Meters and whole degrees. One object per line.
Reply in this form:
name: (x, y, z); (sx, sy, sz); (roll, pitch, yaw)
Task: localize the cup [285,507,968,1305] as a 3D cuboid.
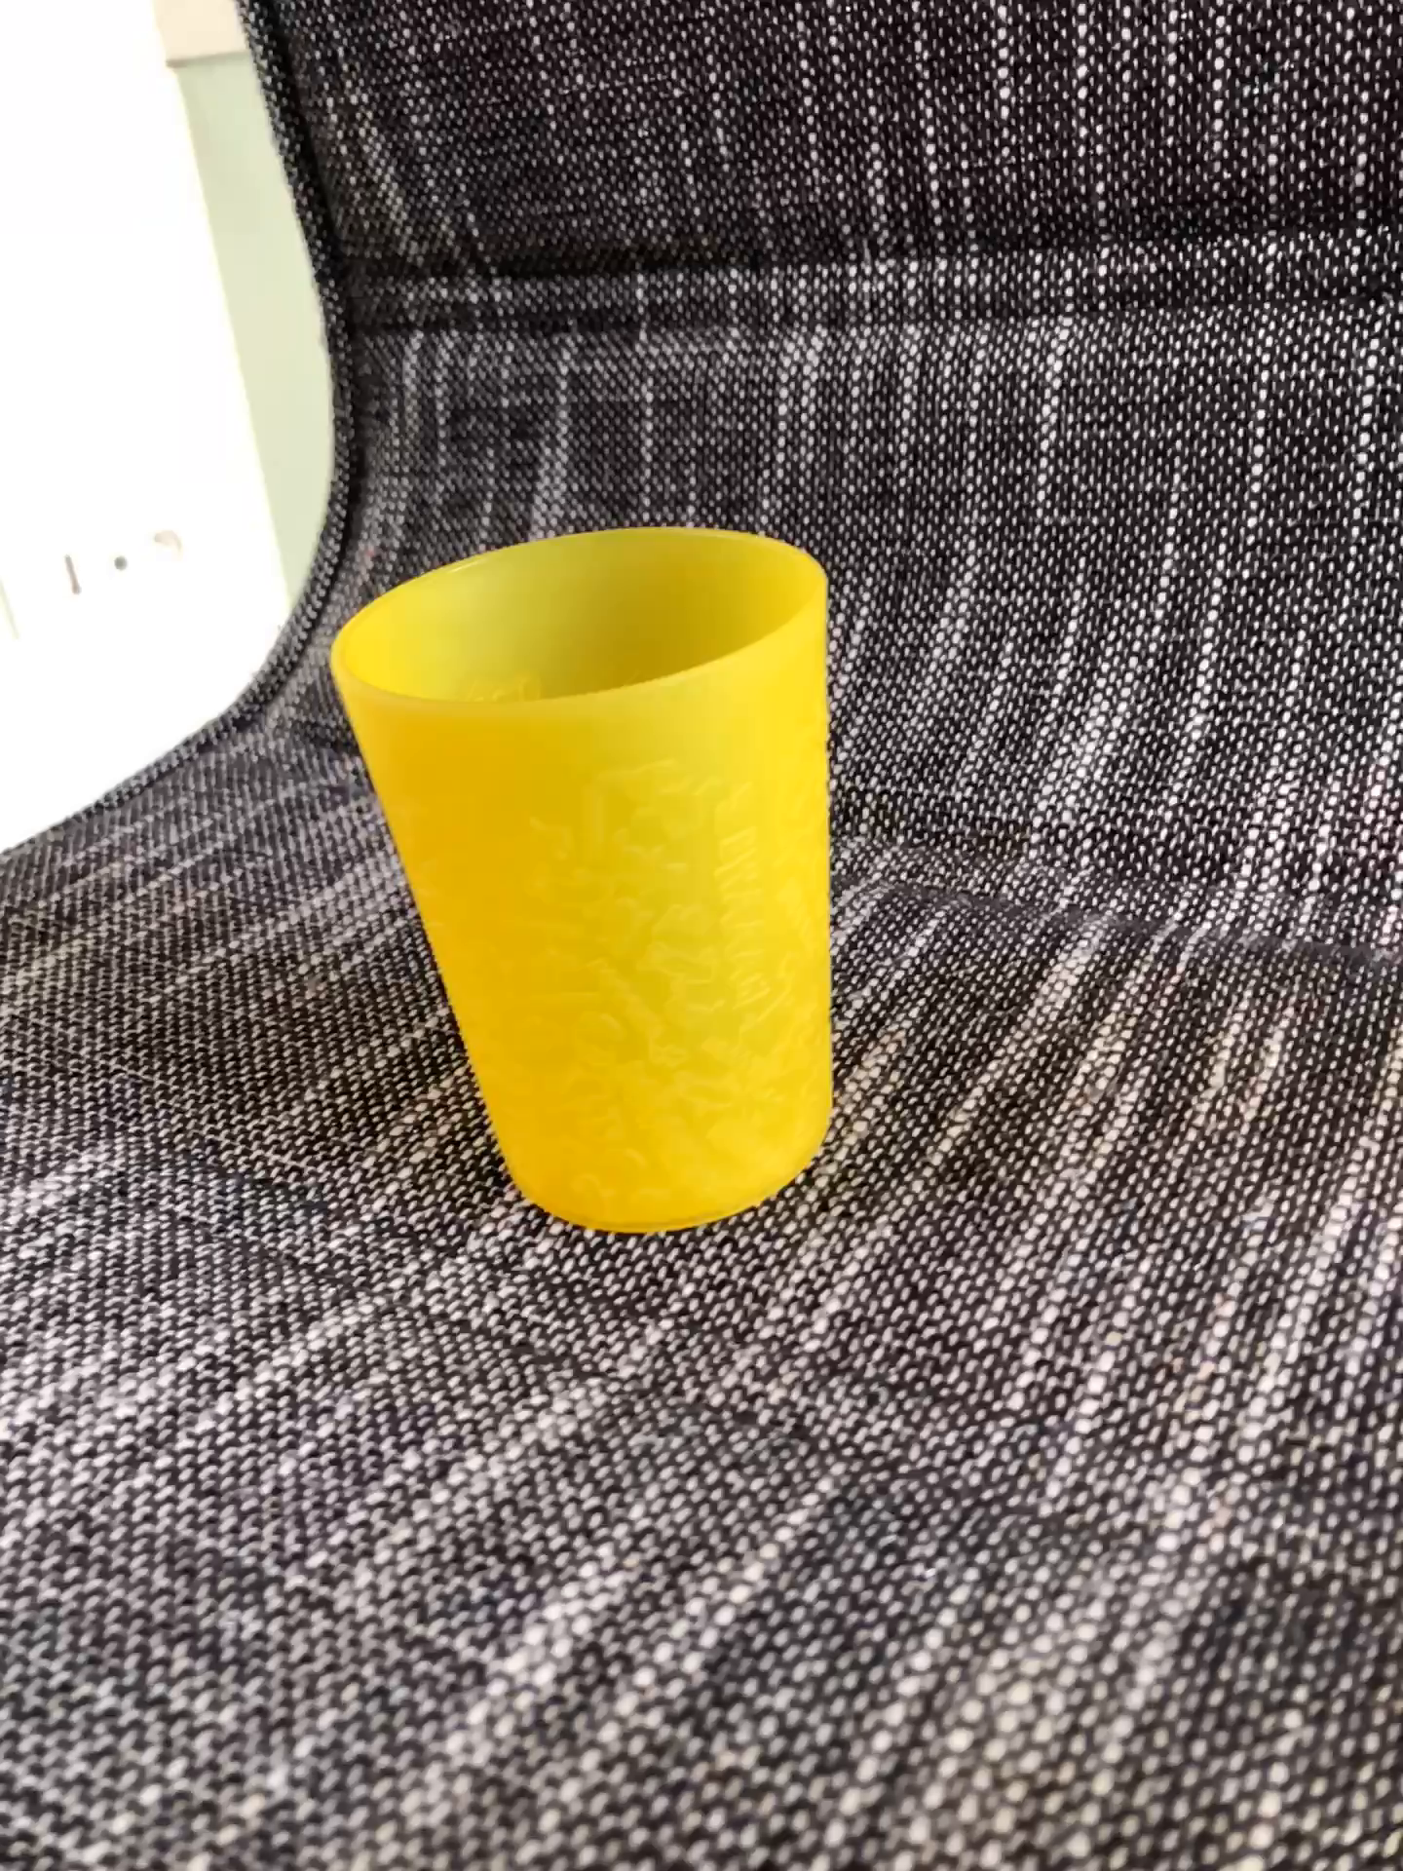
cup: (-0.002, -0.007, 0.205); (0.060, 0.080, 0.060); (-6, 32, 4)
